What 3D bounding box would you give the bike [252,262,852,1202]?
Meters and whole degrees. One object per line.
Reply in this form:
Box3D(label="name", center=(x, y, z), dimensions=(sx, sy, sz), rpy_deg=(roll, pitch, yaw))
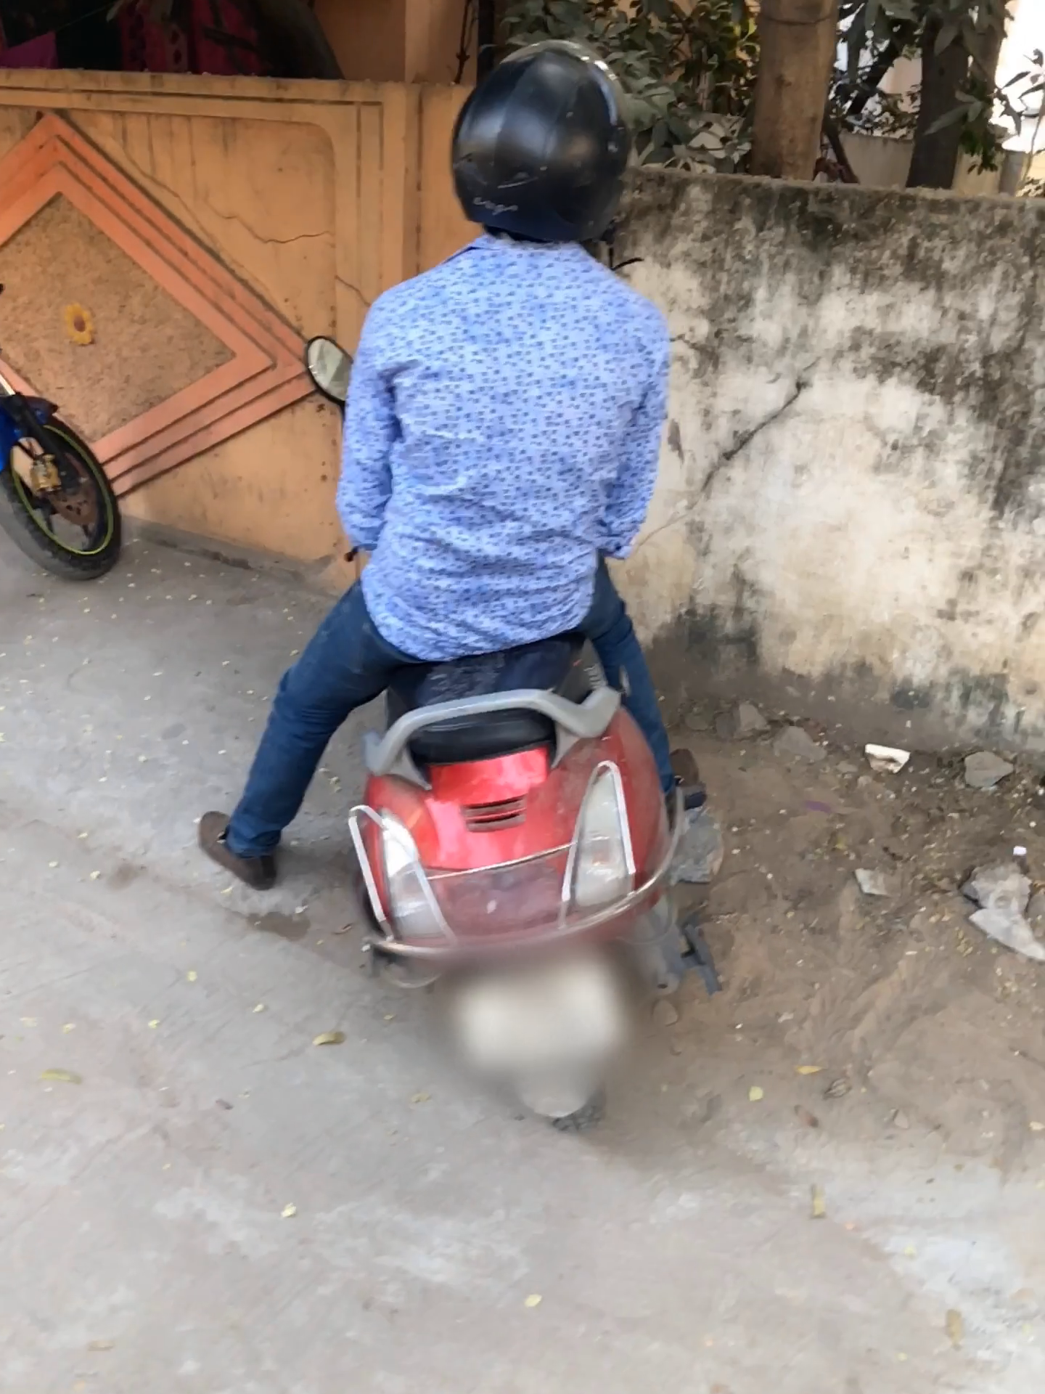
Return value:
Box3D(label="bike", center=(-0.119, -0.088, 2.257), dimensions=(0.722, 1.165, 1.509), rpy_deg=(-1, 29, -10))
